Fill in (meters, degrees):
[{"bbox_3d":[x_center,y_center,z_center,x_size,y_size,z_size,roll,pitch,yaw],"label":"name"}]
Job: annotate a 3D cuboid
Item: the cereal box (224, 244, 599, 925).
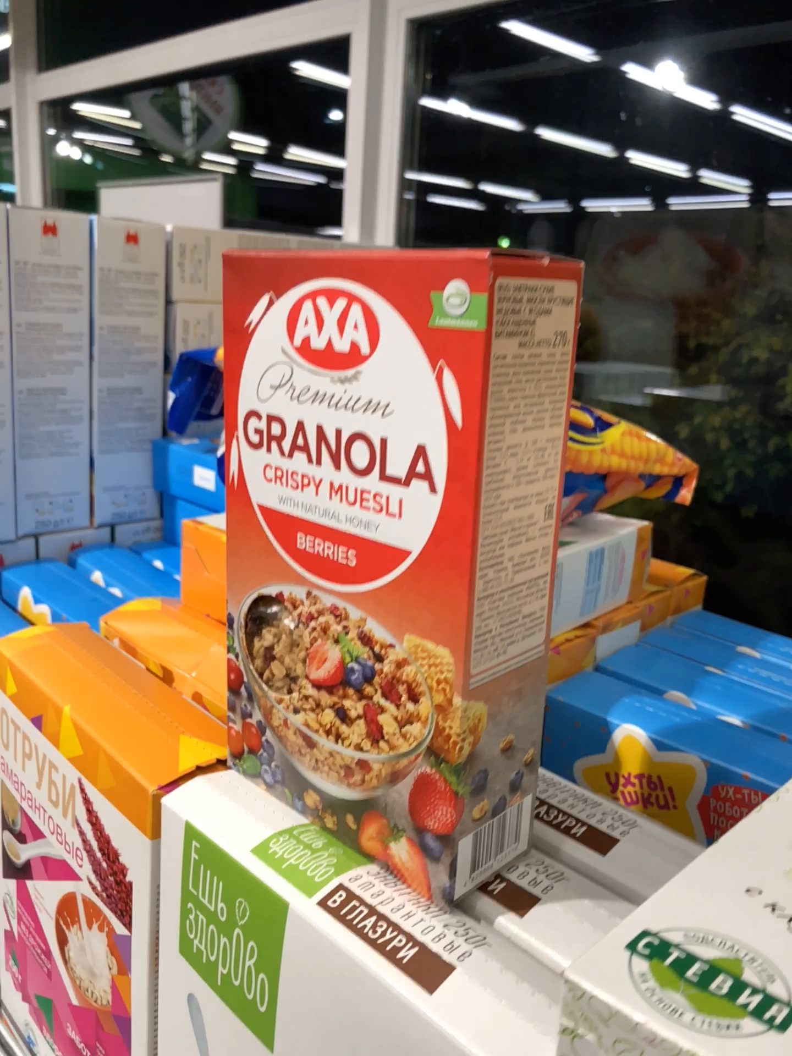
[{"bbox_3d":[-0.005,0.010,0.330,0.130,0.219,0.050,17,21,42],"label":"cereal box"}]
